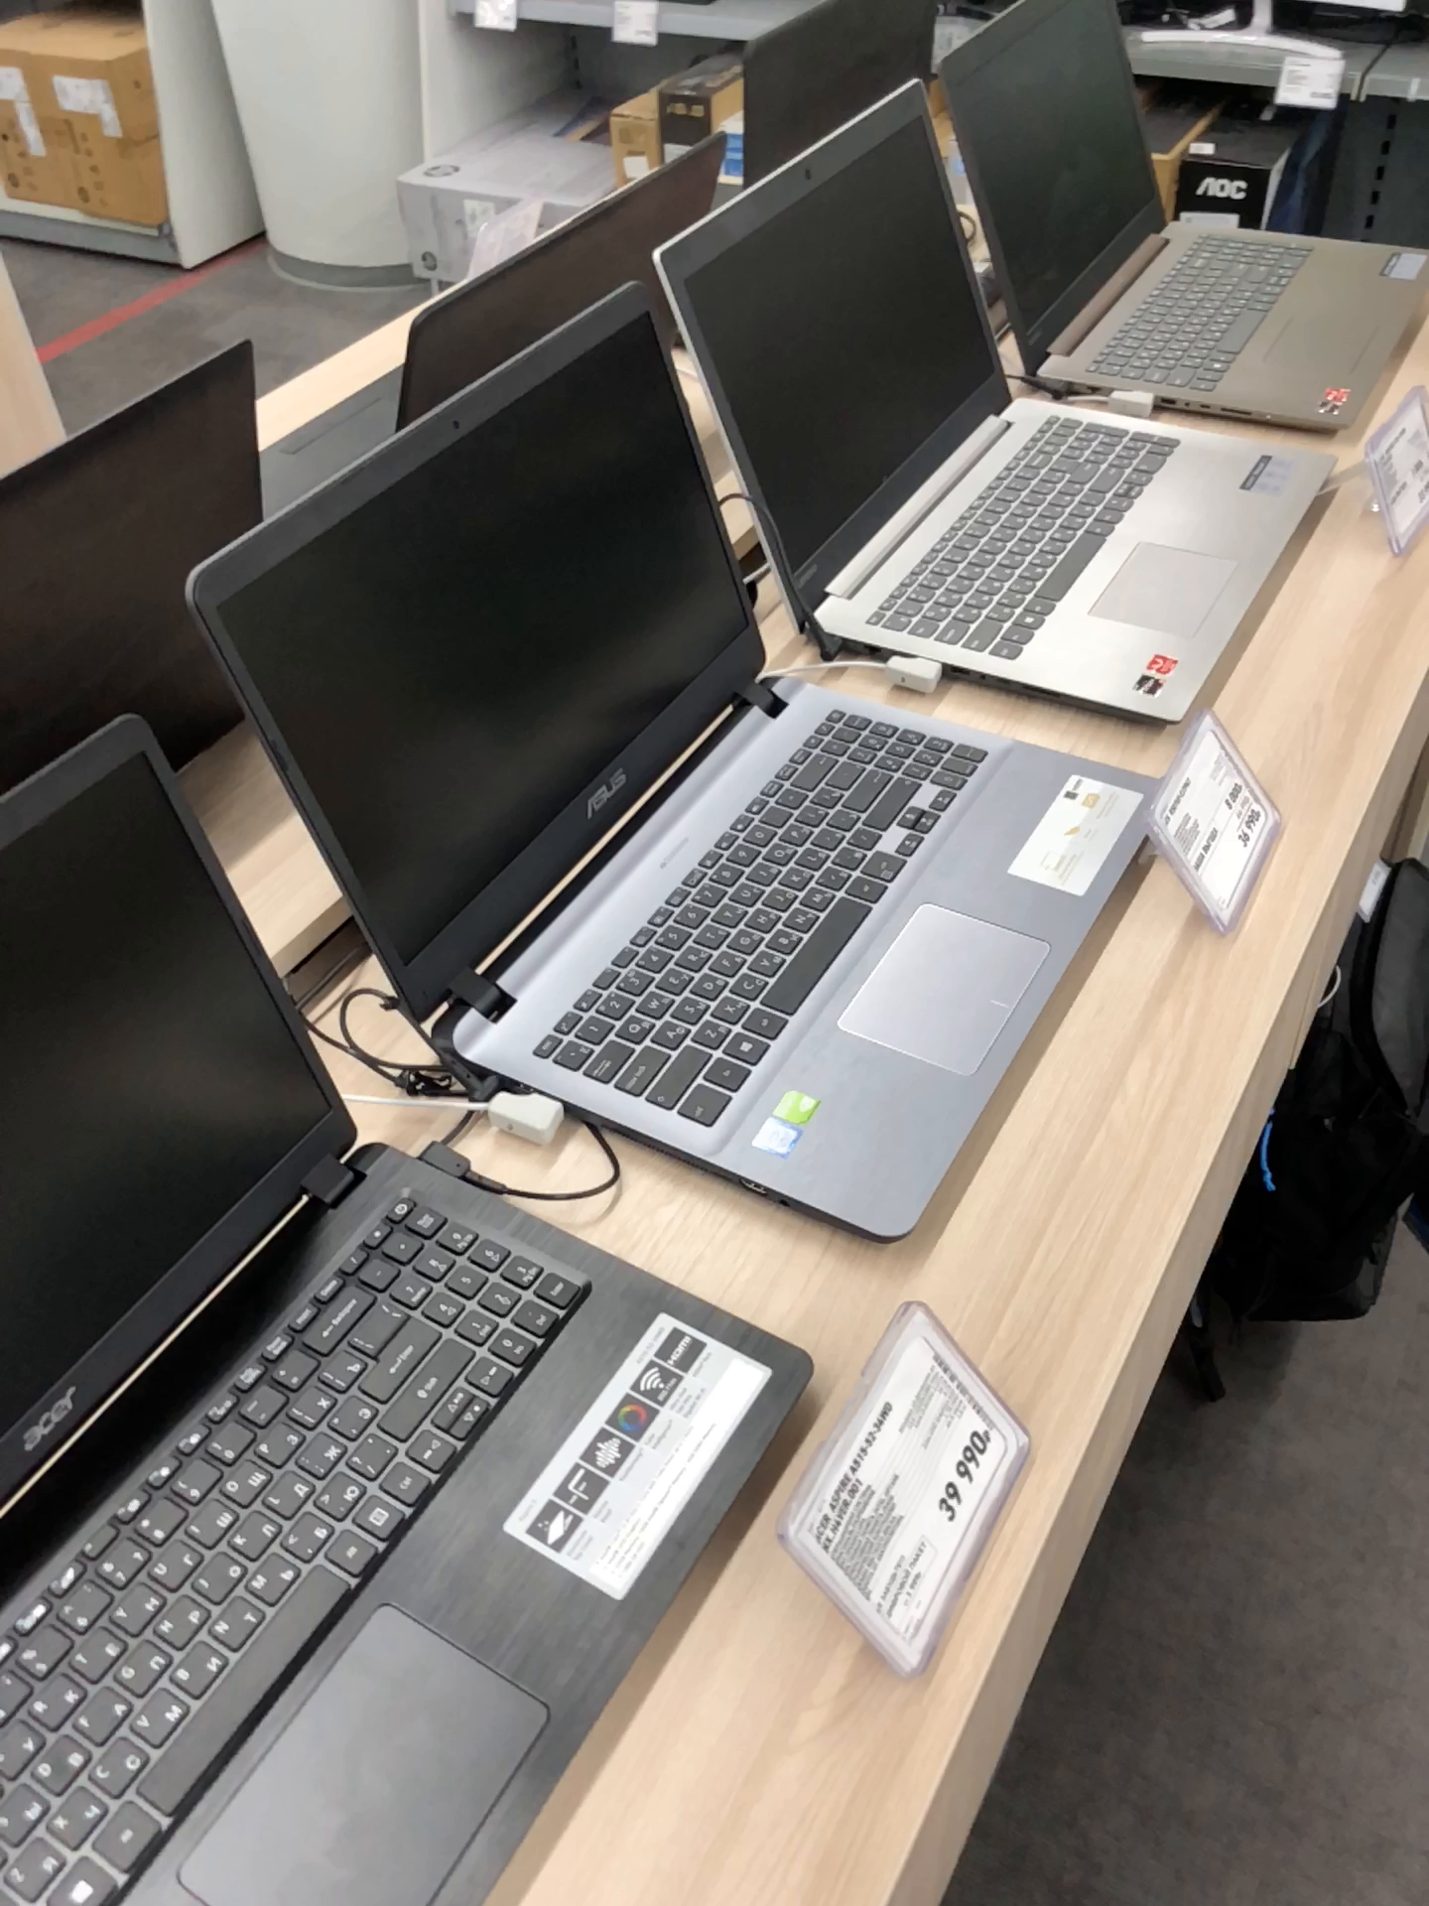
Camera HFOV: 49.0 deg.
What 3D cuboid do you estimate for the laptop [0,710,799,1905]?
[{"bbox_3d":[-0.177,0.139,0.503,0.292,0.222,0.333,21,48,24],"label":"laptop"}]

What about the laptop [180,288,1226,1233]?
[{"bbox_3d":[0.016,-0.121,0.761,0.329,0.226,0.346,20,48,22],"label":"laptop"}]

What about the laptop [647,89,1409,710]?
[{"bbox_3d":[0.213,-0.382,1.033,0.332,0.220,0.371,19,47,21],"label":"laptop"}]
